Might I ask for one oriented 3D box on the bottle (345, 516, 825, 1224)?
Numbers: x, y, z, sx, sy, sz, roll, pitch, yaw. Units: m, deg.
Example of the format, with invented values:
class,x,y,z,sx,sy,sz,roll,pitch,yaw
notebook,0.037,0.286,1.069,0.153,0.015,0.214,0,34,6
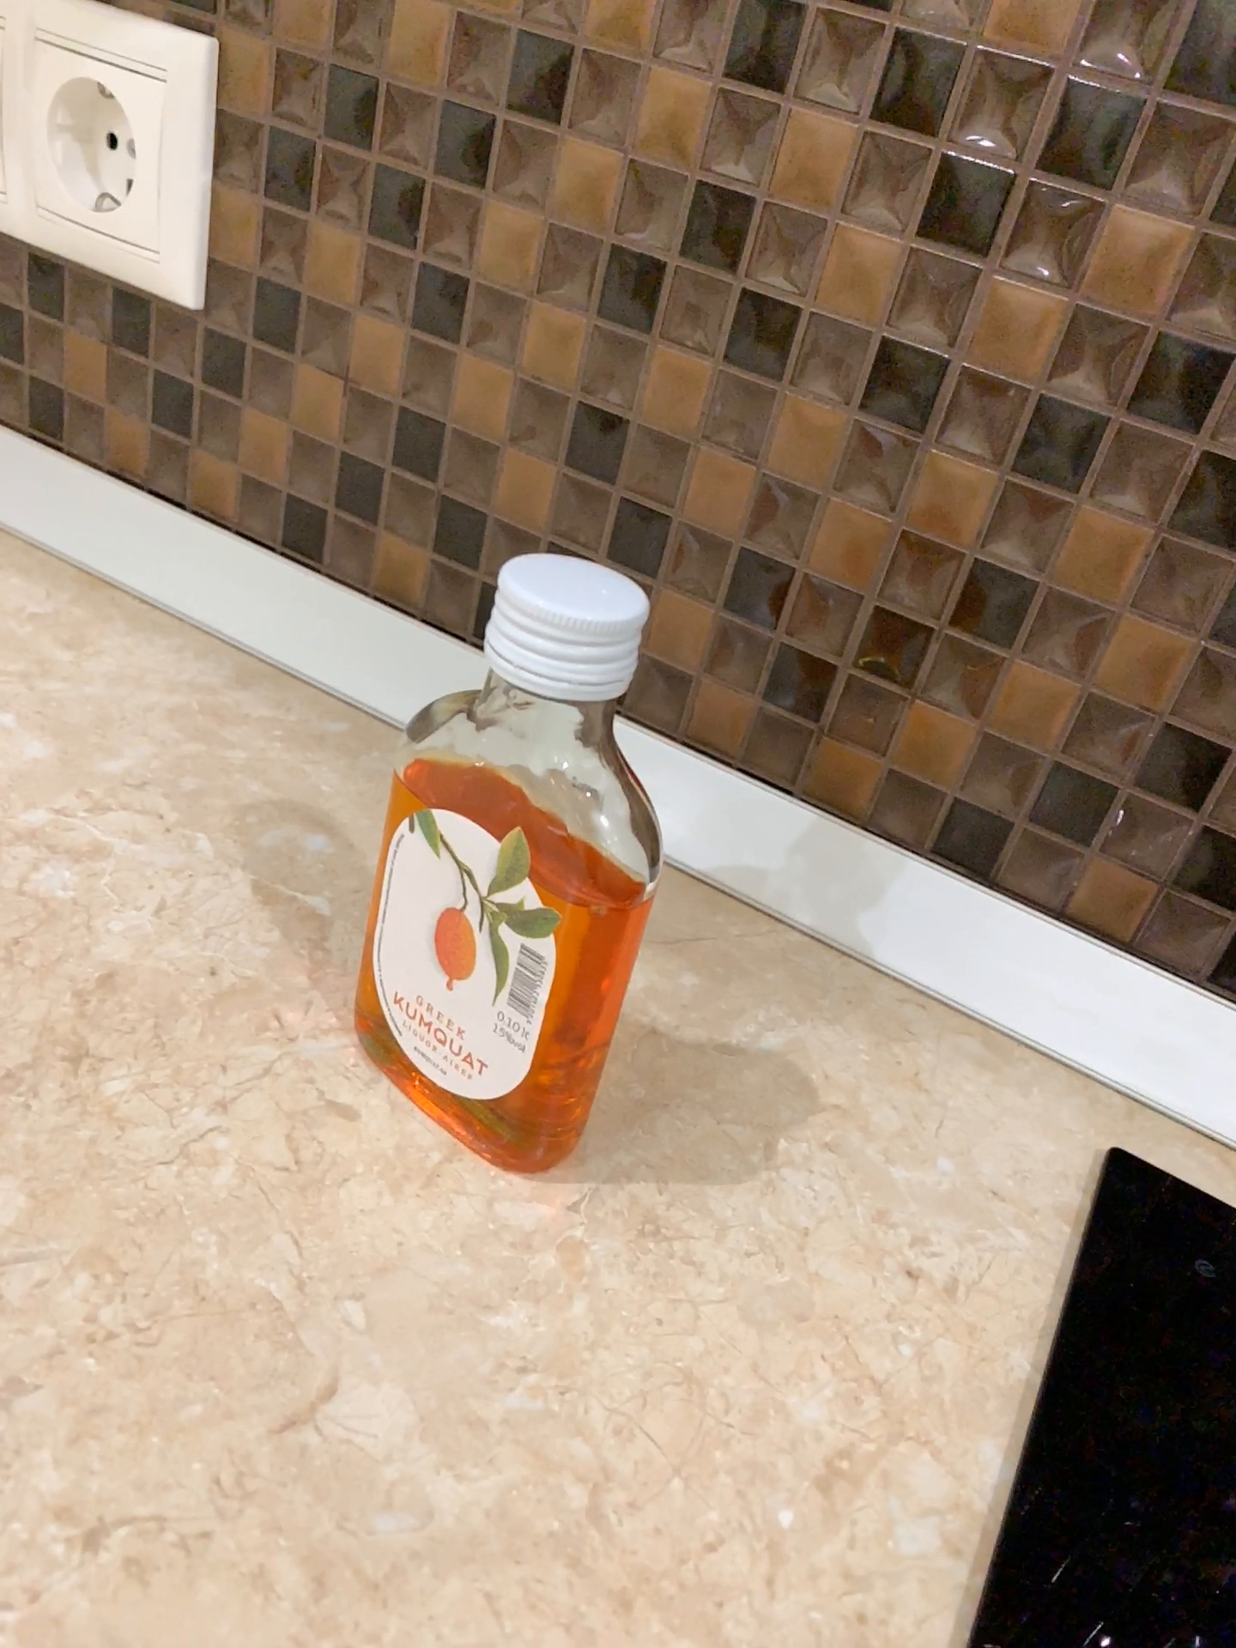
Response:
class,x,y,z,sx,sy,sz,roll,pitch,yaw
bottle,-0.014,0.011,0.282,0.070,0.133,0.040,34,35,28
